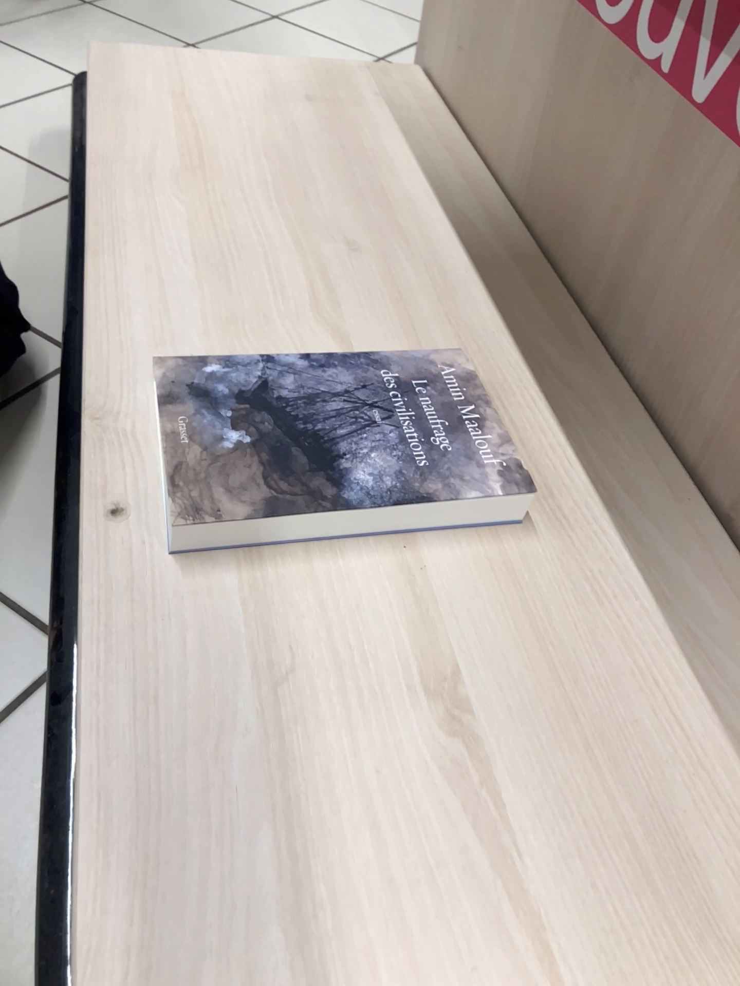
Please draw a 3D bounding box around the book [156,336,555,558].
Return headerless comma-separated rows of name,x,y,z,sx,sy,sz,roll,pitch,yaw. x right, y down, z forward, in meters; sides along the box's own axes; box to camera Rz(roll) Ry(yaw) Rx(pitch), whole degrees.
book,-0.016,-0.037,0.491,0.211,0.026,0.148,-5,48,-15
